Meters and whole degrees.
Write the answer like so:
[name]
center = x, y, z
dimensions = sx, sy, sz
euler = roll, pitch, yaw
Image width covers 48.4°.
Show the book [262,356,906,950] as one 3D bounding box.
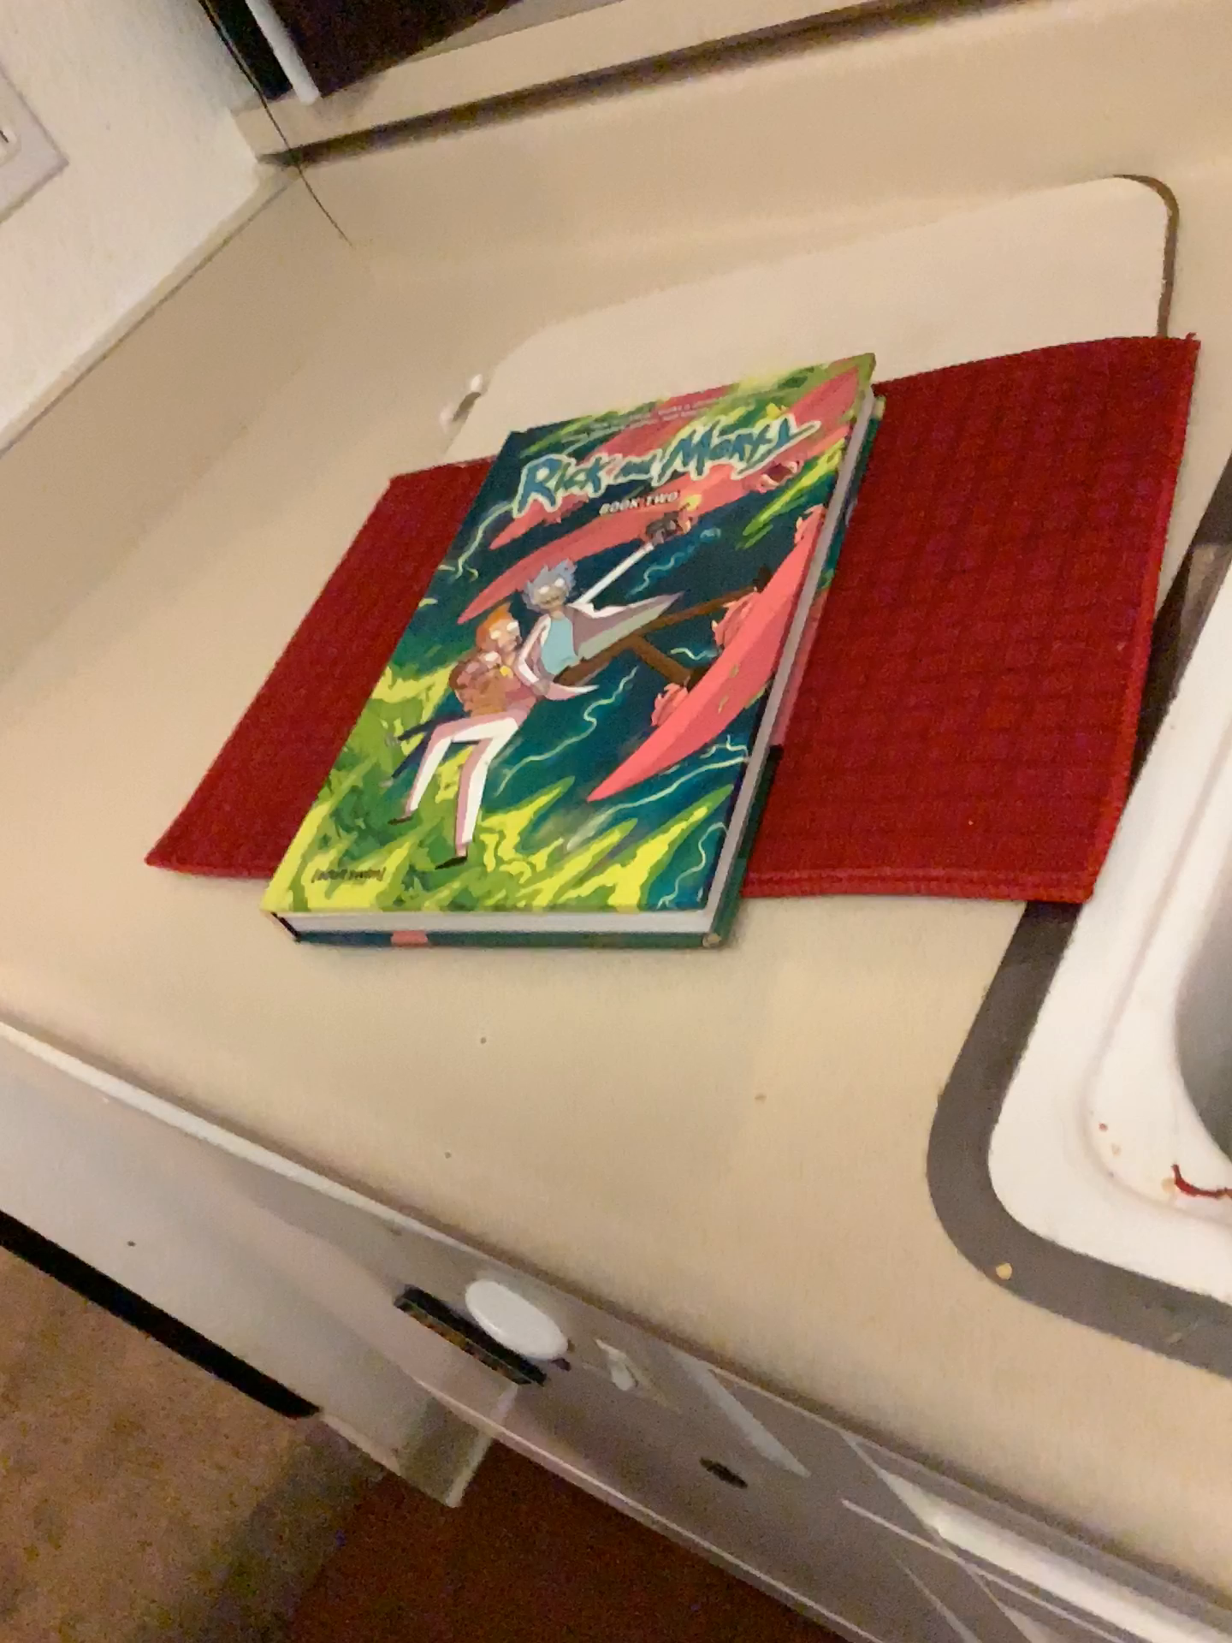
[book]
center = -0.004, -0.079, 0.589
dimensions = 0.200, 0.030, 0.300
euler = -2, 50, 30
